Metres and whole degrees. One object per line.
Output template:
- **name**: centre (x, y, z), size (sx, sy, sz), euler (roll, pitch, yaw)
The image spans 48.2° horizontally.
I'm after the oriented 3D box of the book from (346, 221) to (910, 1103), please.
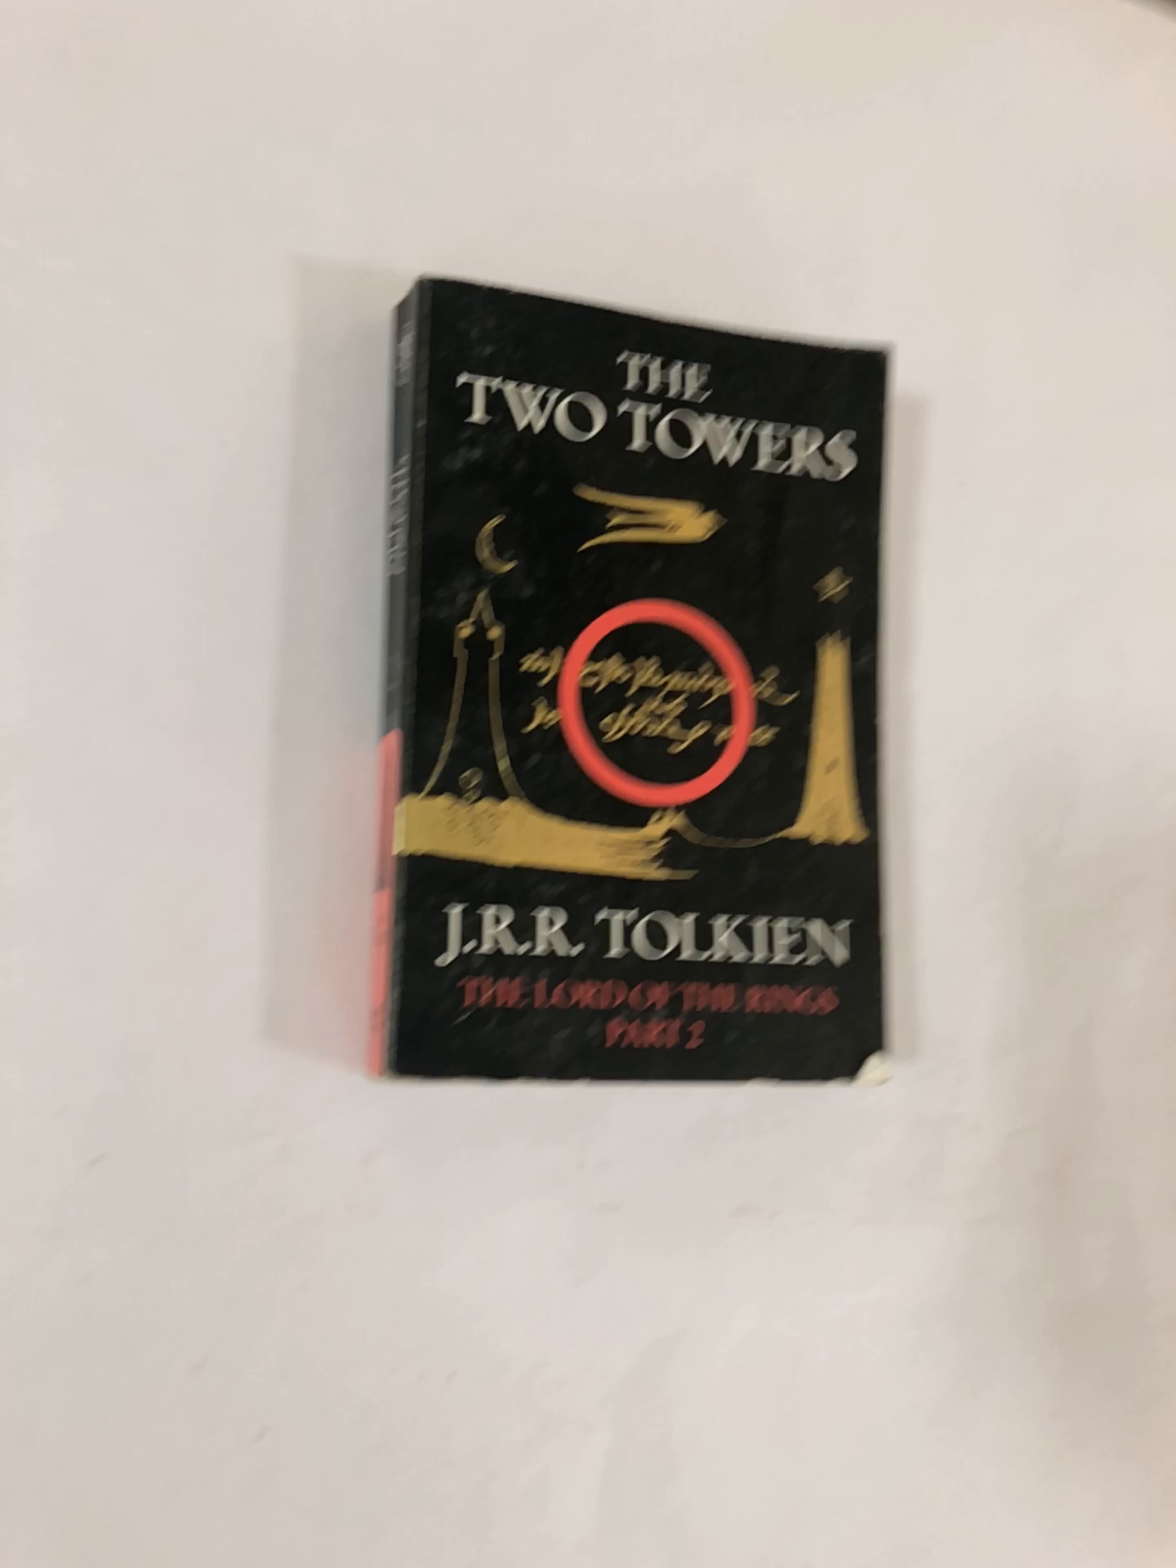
- **book**: centre (0.012, -0.026, 0.325), size (0.130, 0.030, 0.200), euler (4, 80, -19)
